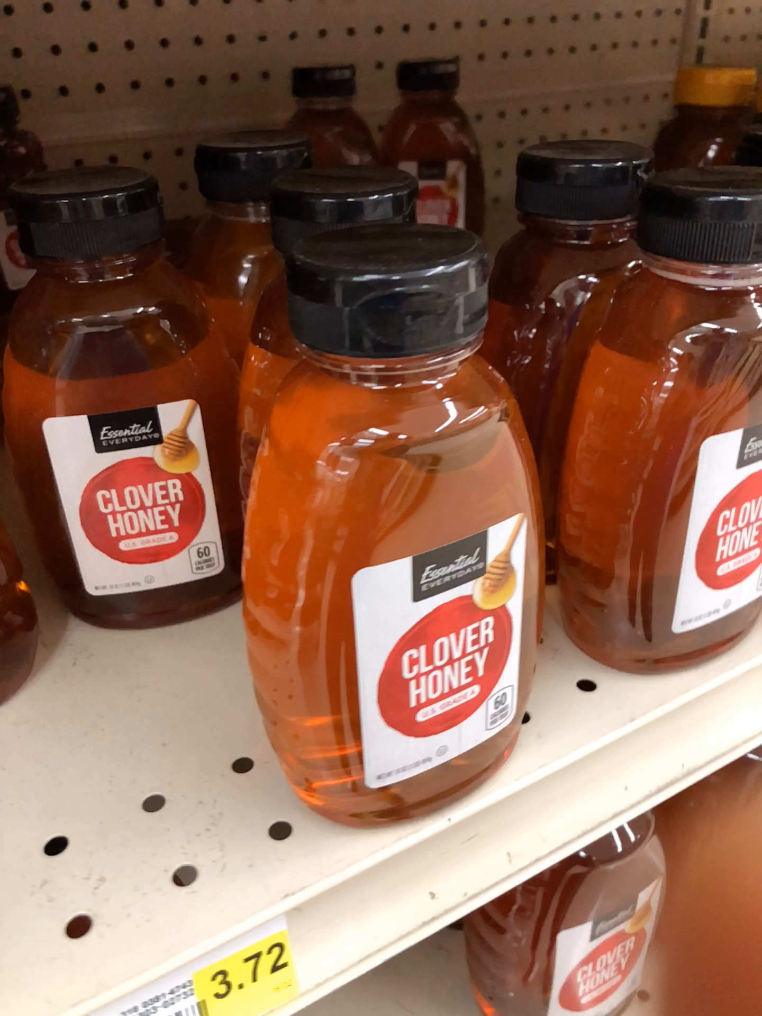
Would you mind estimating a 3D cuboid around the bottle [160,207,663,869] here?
[{"bbox_3d":[0.006,0.005,0.209,0.083,0.130,0.060,-19,36,-25],"label":"bottle"}]
